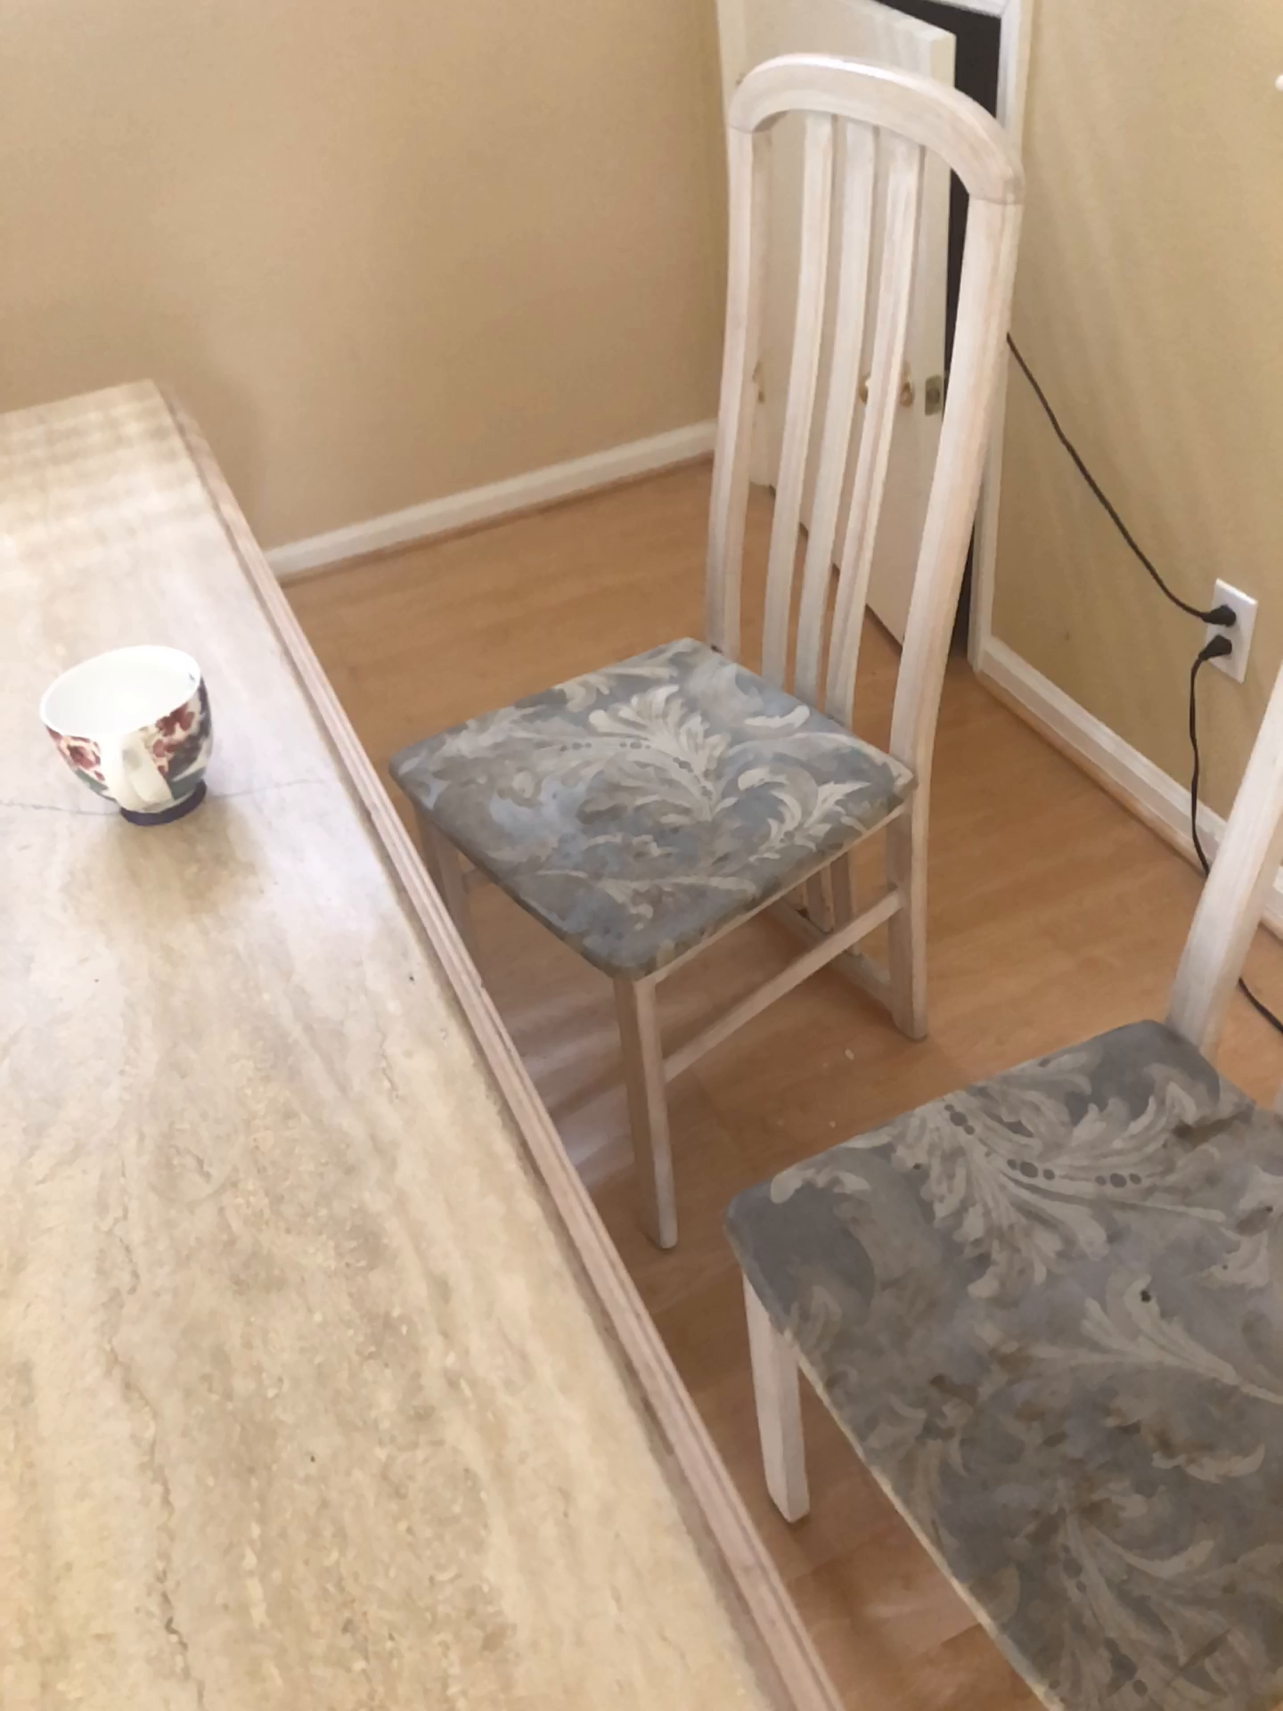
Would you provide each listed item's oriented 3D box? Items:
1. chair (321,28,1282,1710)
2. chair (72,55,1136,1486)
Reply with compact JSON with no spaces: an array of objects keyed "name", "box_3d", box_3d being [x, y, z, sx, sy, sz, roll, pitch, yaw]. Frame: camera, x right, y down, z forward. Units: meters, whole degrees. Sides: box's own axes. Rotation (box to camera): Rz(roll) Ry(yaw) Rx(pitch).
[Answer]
[{"name":"chair","box_3d":[0.276,0.210,0.887,0.562,1.141,0.482,-24,43,-20]},{"name":"chair","box_3d":[0.021,-0.025,1.339,0.563,1.141,0.482,-29,45,-22]}]
